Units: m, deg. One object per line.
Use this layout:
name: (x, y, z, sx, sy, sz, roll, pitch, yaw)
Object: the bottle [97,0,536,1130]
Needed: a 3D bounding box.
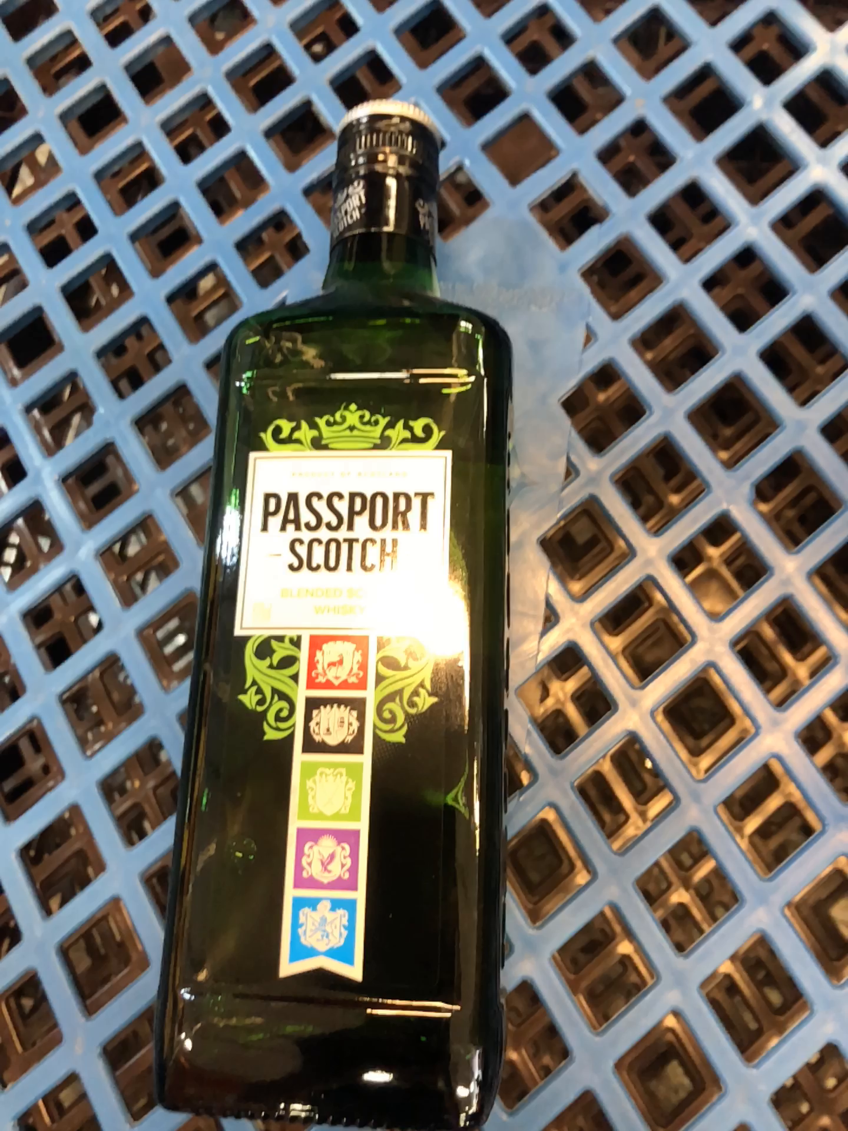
bottle: (-0.013, -0.018, 0.243, 0.080, 0.070, 0.280, 0, 75, 8)
